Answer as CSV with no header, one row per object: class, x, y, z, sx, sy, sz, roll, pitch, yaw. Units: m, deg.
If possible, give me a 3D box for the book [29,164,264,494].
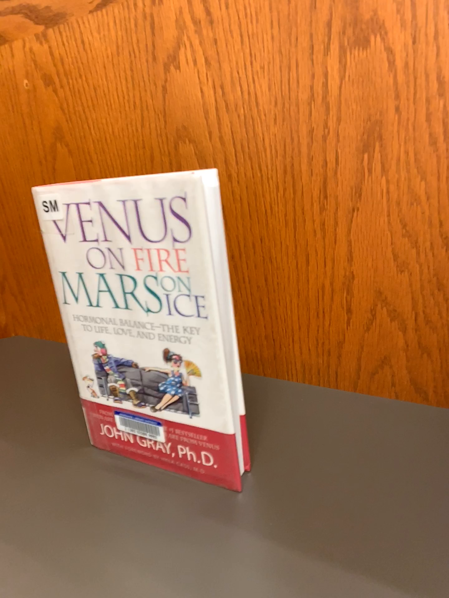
book,-0.057,0.022,0.341,0.154,0.220,0.033,4,20,31
